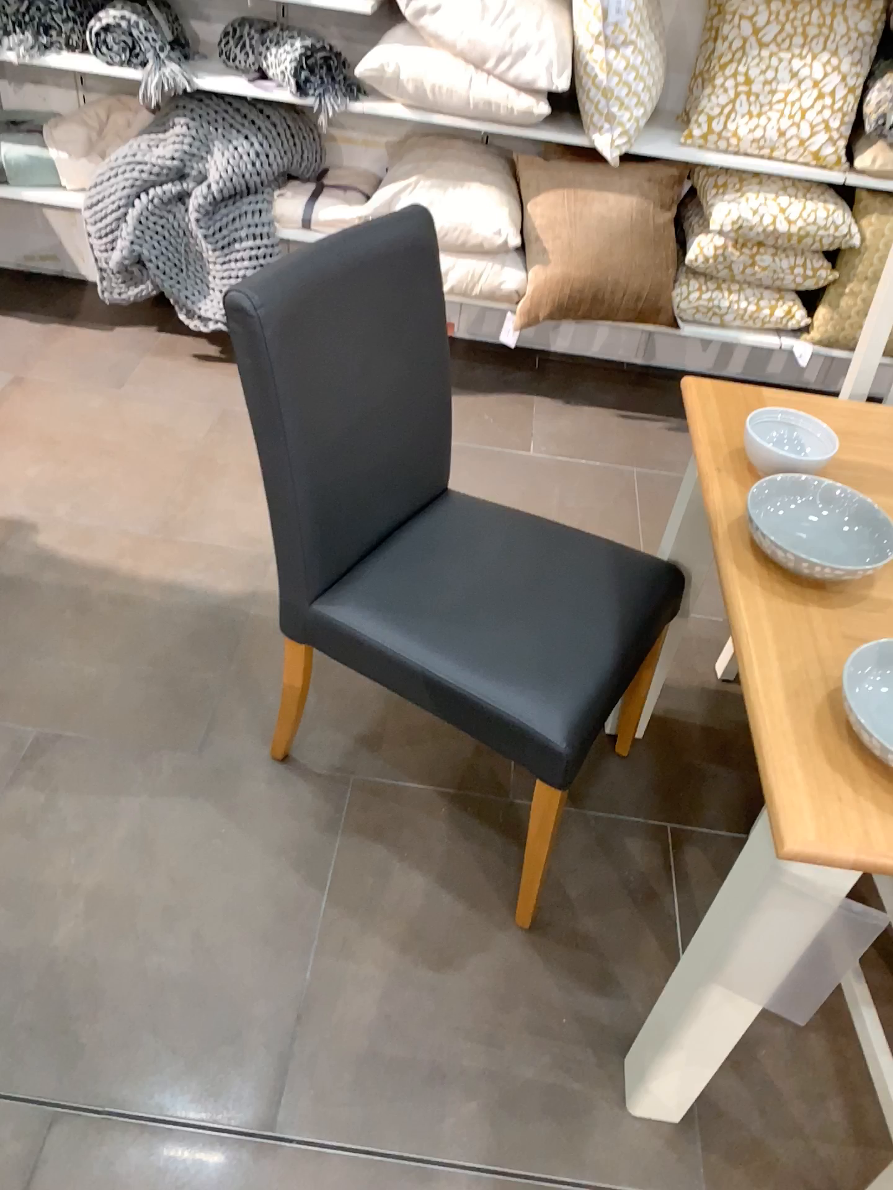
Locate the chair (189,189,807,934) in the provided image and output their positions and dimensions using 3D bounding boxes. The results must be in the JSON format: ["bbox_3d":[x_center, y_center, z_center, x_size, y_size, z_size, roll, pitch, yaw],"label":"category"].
[{"bbox_3d":[0.036,-0.042,1.455,0.651,0.906,0.479,26,45,20],"label":"chair"}]
